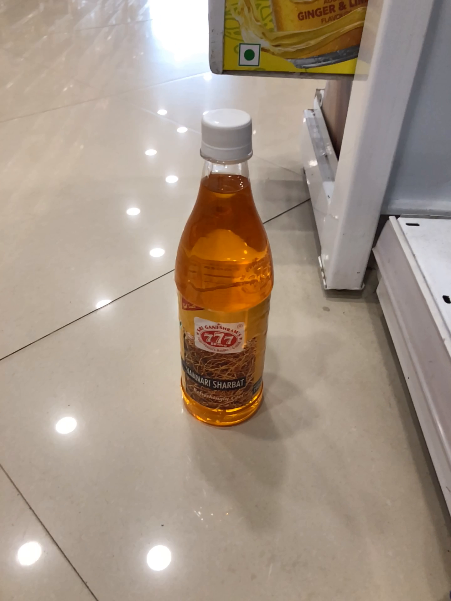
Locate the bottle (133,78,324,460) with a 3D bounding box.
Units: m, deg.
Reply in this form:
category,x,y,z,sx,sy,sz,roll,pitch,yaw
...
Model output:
category,x,y,z,sx,sy,sz,roll,pitch,yaw
bottle,0.002,-0.008,0.412,0.100,0.298,0.101,2,39,-1
